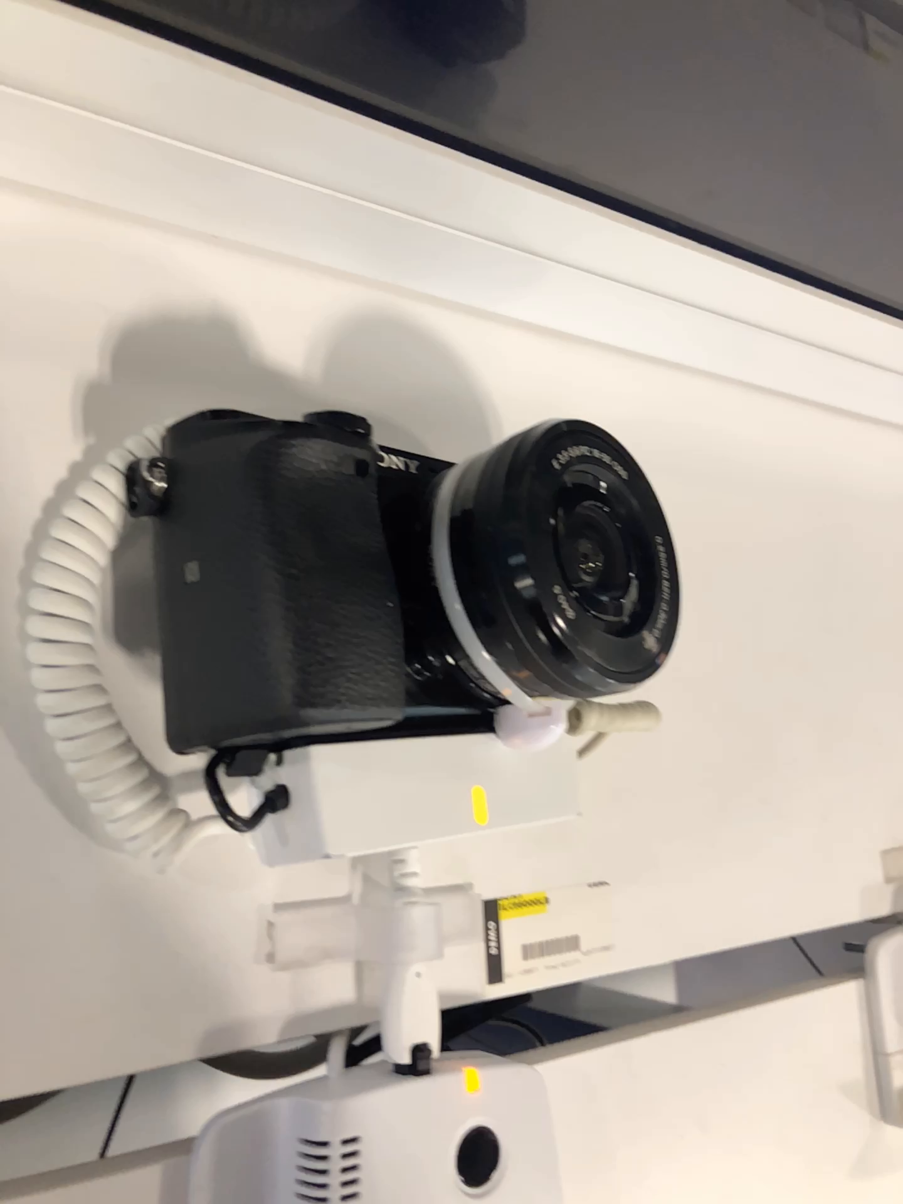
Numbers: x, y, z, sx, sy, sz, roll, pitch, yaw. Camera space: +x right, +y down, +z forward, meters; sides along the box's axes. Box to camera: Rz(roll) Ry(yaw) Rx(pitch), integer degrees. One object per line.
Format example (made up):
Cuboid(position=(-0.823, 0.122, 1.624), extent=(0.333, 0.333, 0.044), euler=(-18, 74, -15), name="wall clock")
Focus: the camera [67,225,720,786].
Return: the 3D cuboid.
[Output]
Cuboid(position=(-0.010, -0.009, 0.231), extent=(0.130, 0.070, 0.090), euler=(5, 75, -43), name="camera")
